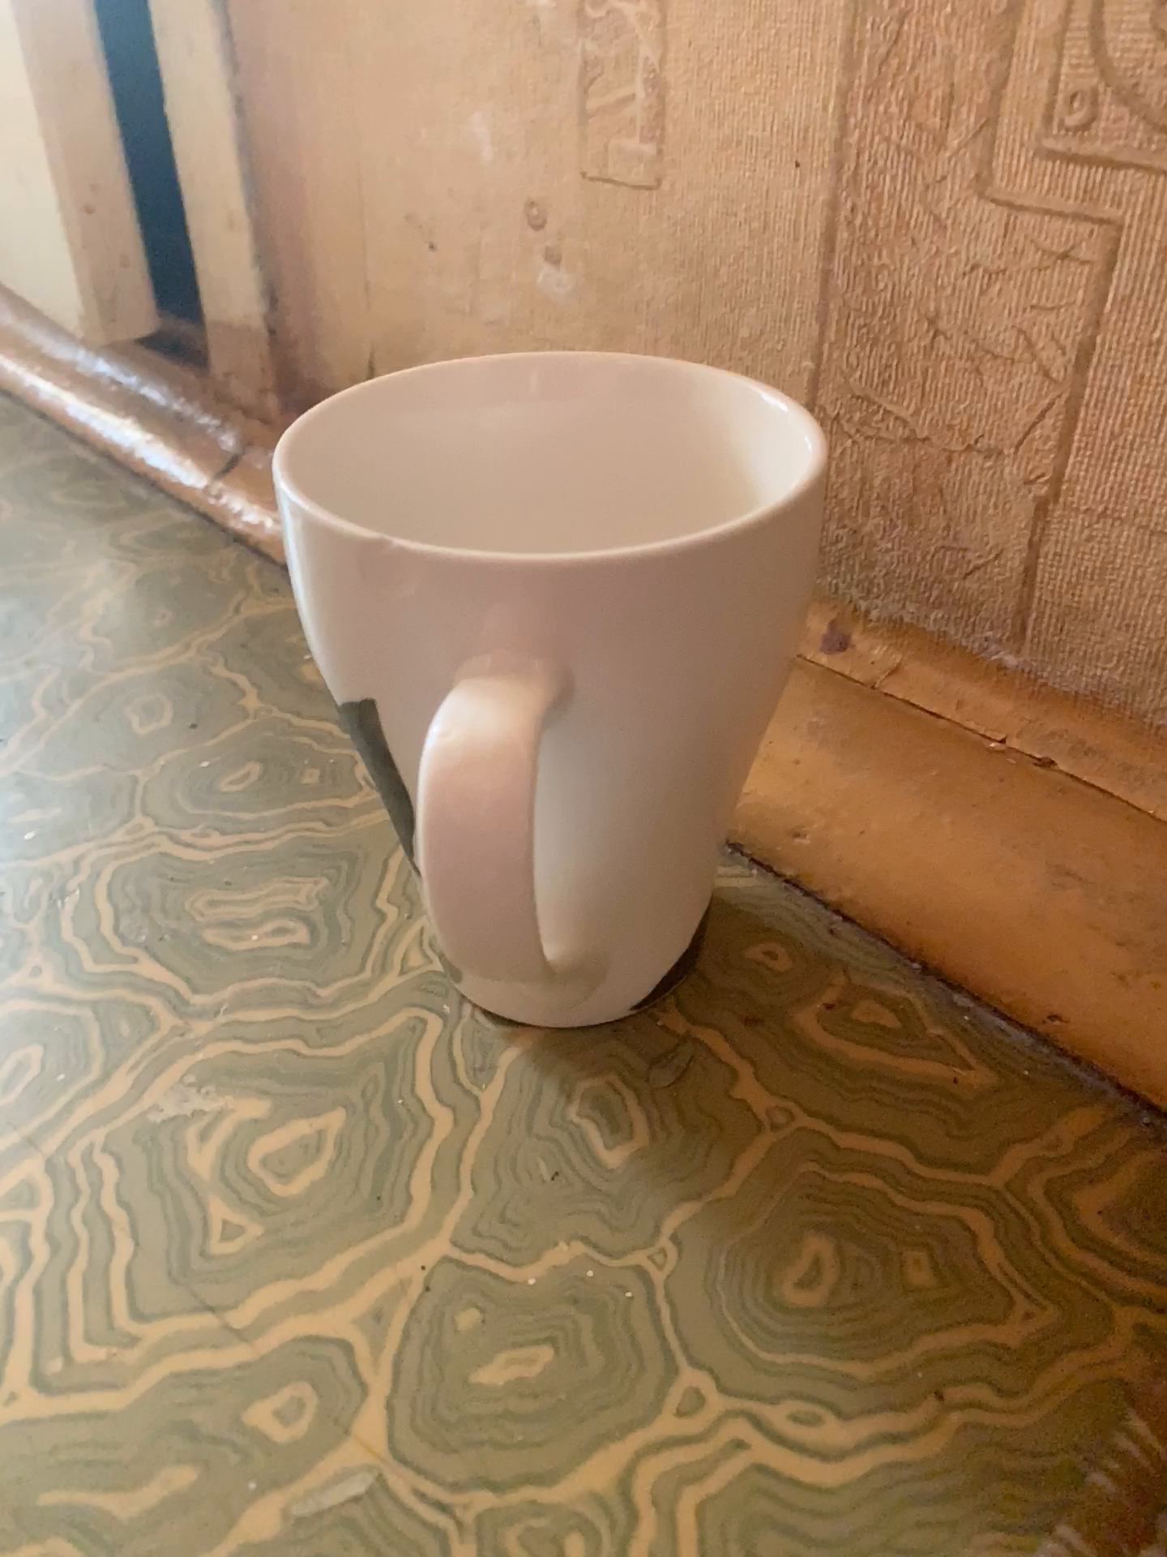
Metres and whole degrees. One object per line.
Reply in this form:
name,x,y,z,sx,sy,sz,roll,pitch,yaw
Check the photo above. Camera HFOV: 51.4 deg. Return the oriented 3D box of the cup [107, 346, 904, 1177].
cup,-0.008,-0.011,0.219,0.093,0.099,0.119,0,35,1
